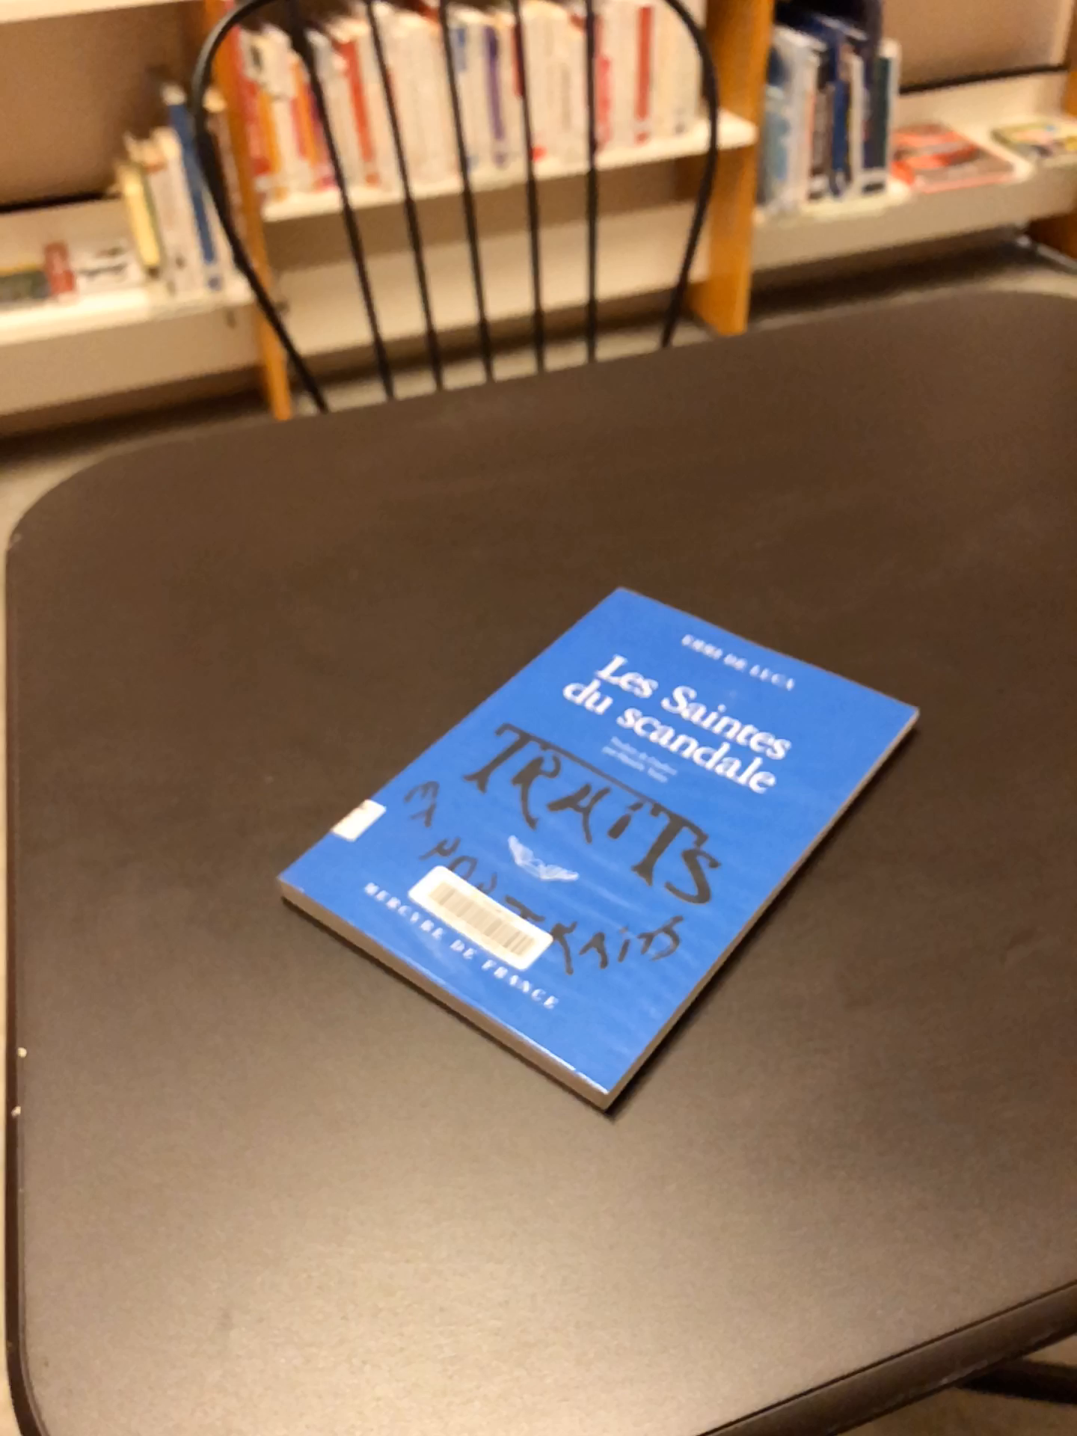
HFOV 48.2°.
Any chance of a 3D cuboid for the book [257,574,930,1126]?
[{"bbox_3d":[0.028,0.027,0.439,0.144,0.017,0.216,26,47,29],"label":"book"}]
